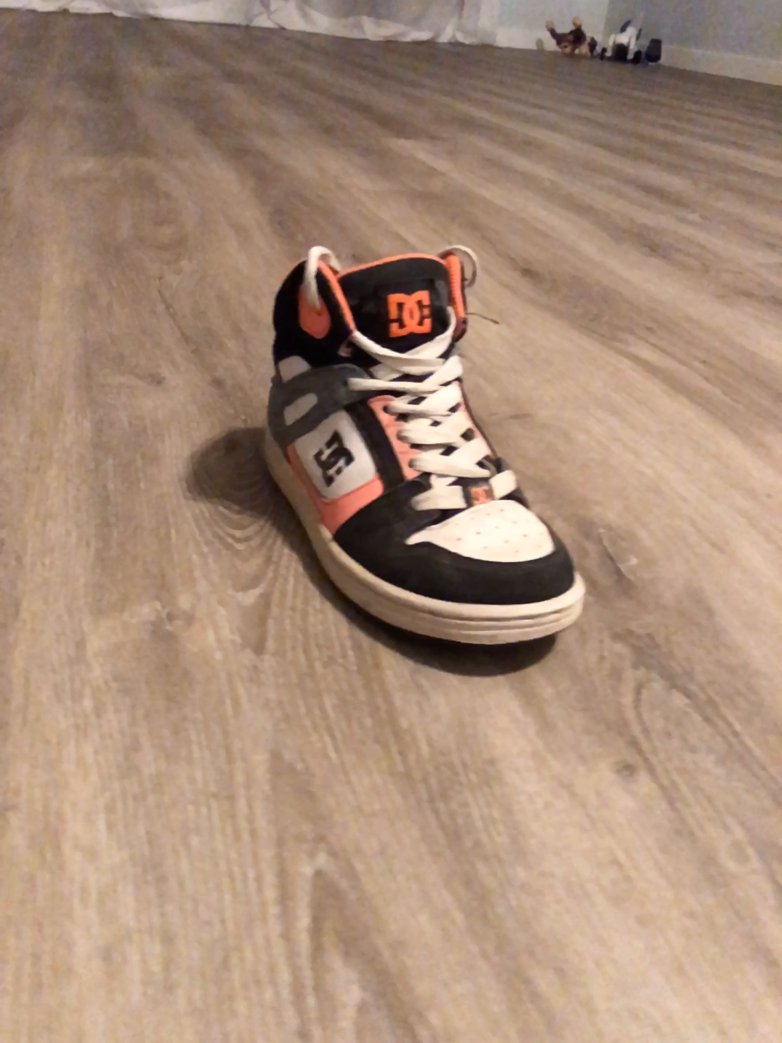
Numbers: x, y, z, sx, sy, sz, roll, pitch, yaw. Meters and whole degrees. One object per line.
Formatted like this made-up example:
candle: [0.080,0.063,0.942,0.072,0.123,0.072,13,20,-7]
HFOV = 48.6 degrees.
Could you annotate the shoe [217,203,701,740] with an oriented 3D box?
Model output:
shoe: [0.003,-0.046,0.394,0.090,0.139,0.241,-11,34,-26]
